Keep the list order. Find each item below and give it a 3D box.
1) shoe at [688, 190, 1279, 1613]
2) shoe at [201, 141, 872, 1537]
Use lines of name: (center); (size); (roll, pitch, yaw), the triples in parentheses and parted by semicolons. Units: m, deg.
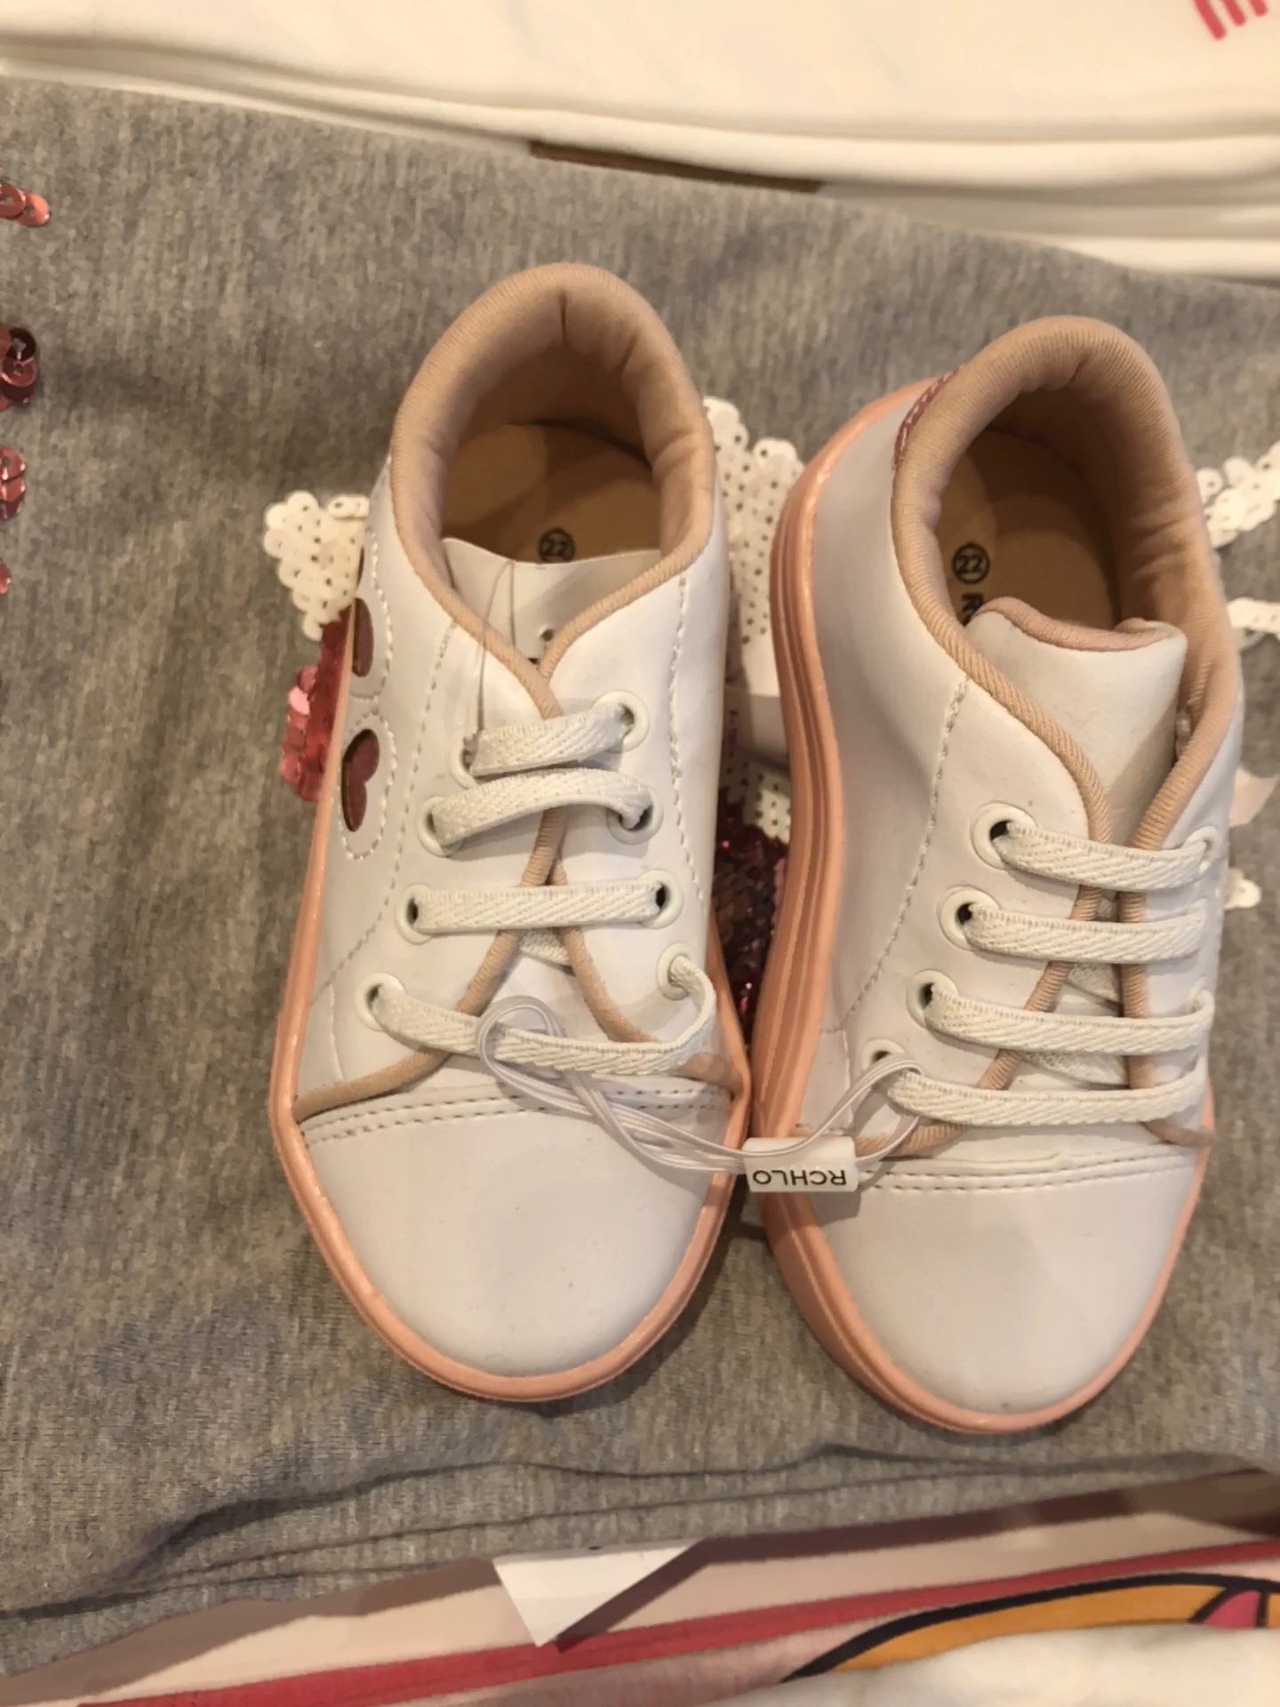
shoe: (0.055, 0.003, 0.194); (0.070, 0.070, 0.150); (-3, 86, -14)
shoe: (-0.017, 0.000, 0.197); (0.070, 0.070, 0.150); (3, 88, -13)
